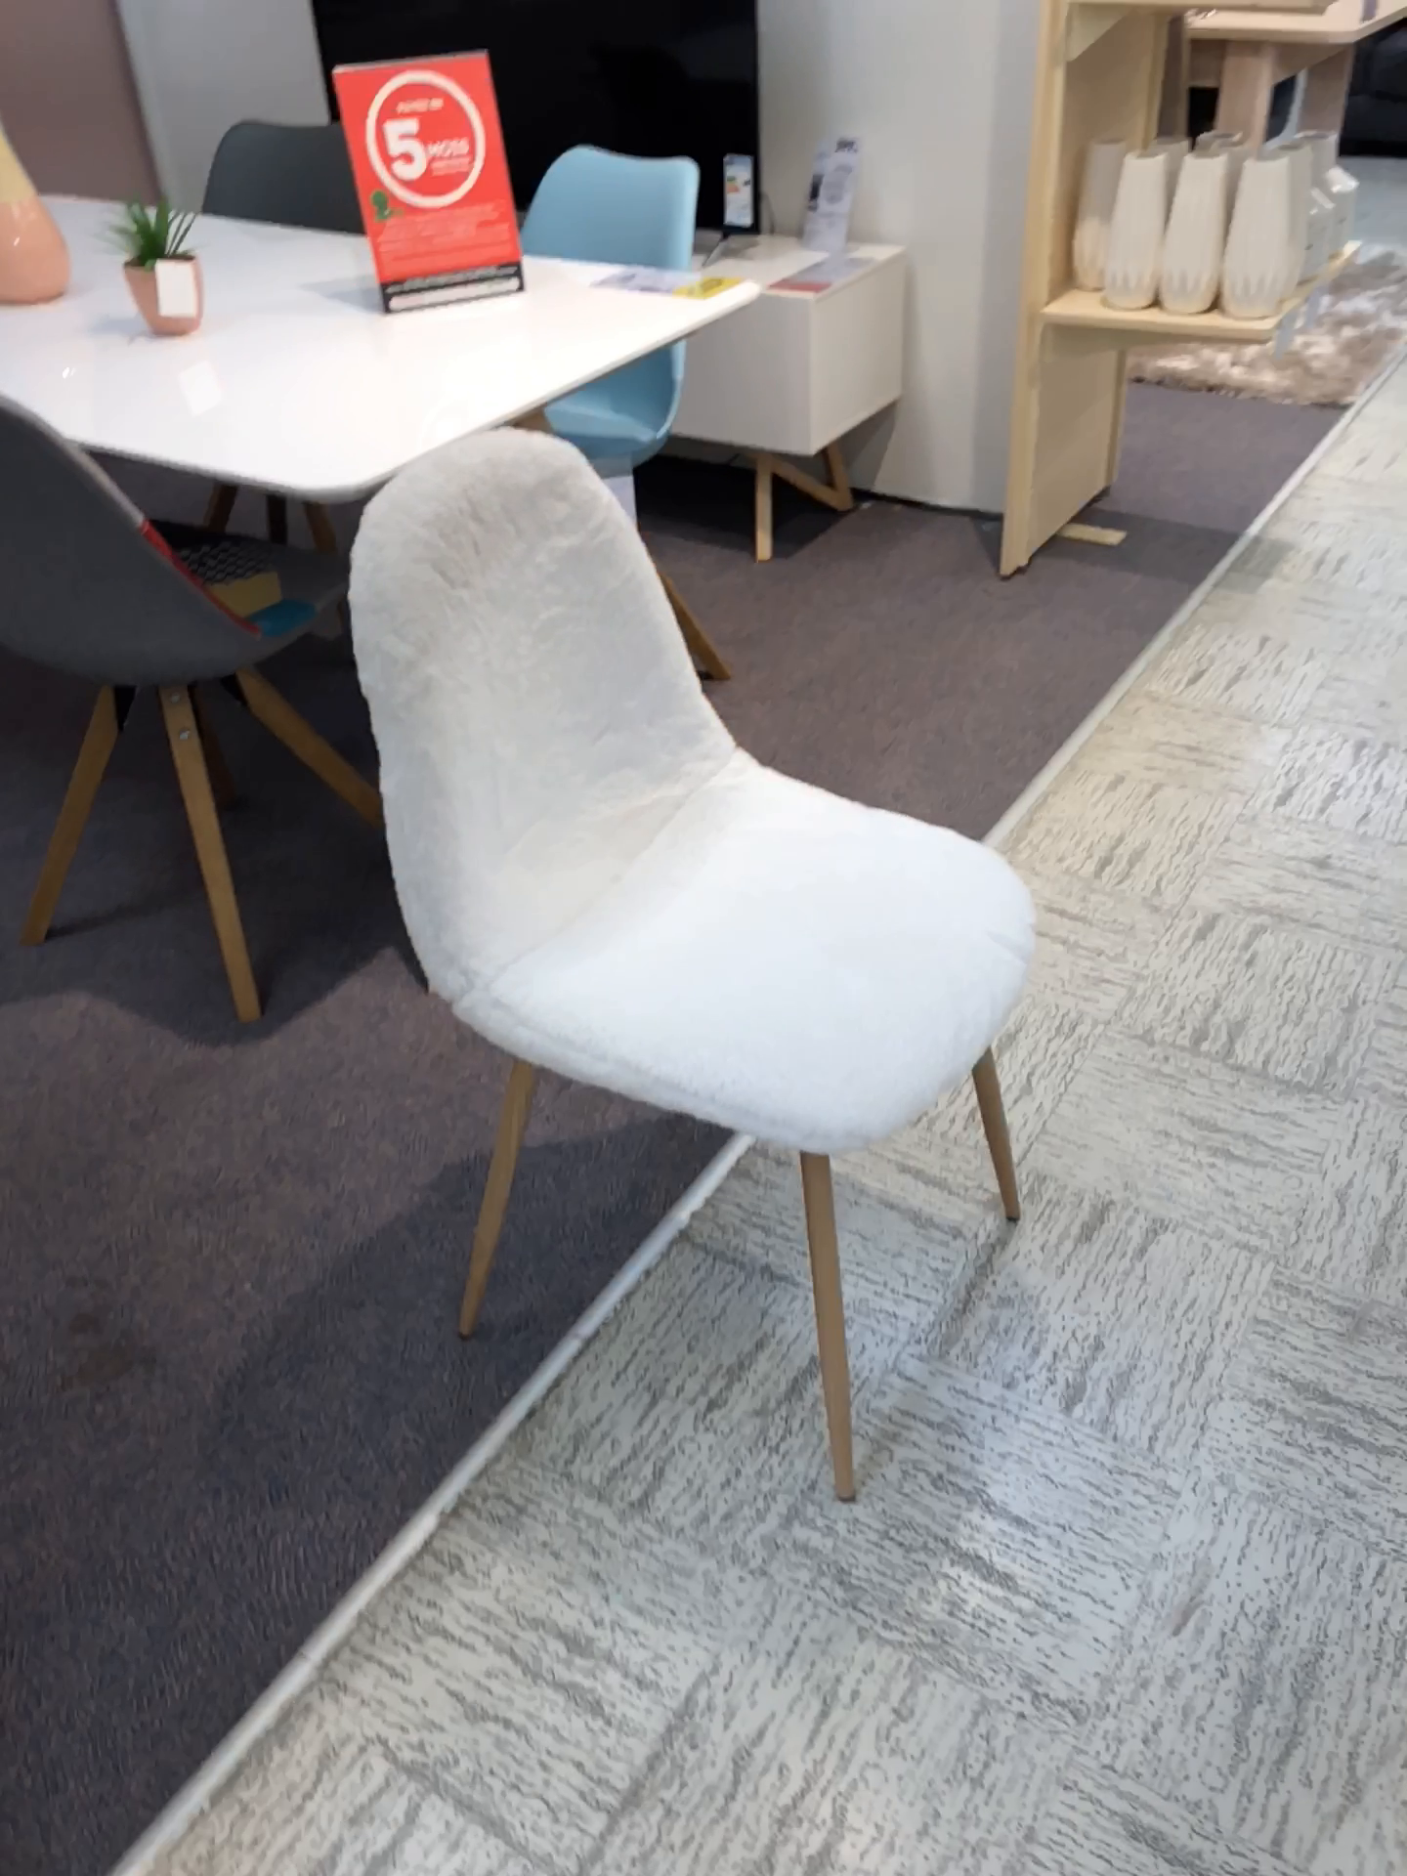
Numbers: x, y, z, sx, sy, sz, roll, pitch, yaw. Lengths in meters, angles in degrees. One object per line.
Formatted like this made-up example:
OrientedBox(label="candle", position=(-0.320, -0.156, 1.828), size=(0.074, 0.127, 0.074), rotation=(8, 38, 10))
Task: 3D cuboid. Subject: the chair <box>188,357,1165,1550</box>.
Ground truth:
OrientedBox(label="chair", position=(0.017, -0.008, 1.397), size=(0.550, 0.815, 0.523), rotation=(16, 40, 24))
